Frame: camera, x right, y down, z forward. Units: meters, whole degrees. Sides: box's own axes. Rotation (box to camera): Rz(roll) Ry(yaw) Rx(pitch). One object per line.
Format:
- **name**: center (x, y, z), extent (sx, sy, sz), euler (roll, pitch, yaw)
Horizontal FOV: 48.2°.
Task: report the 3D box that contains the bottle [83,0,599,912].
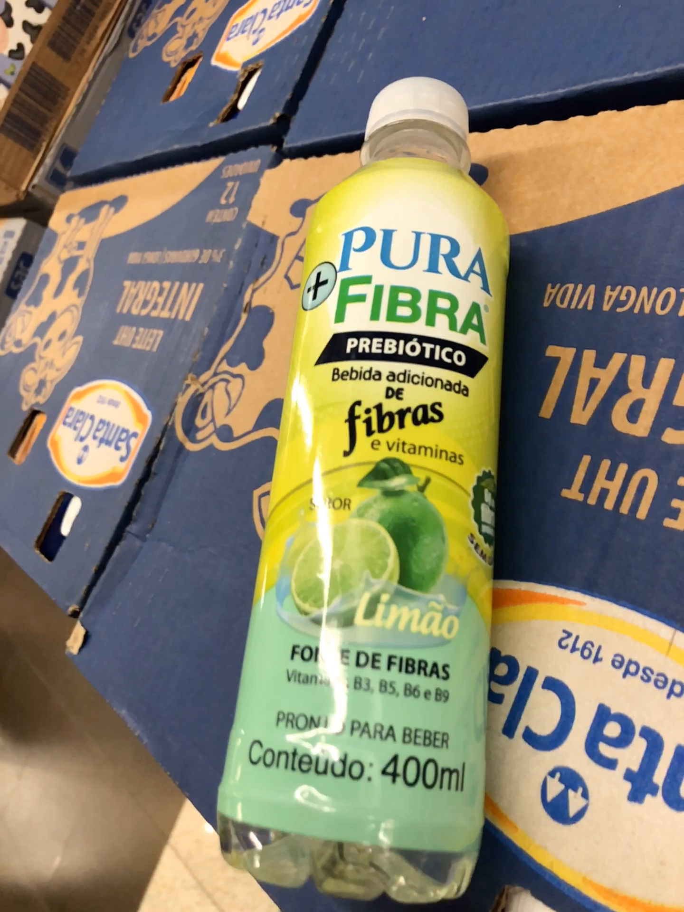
- **bottle**: center (0.014, -0.021, 0.198), extent (0.070, 0.060, 0.250), euler (-13, 58, 43)
